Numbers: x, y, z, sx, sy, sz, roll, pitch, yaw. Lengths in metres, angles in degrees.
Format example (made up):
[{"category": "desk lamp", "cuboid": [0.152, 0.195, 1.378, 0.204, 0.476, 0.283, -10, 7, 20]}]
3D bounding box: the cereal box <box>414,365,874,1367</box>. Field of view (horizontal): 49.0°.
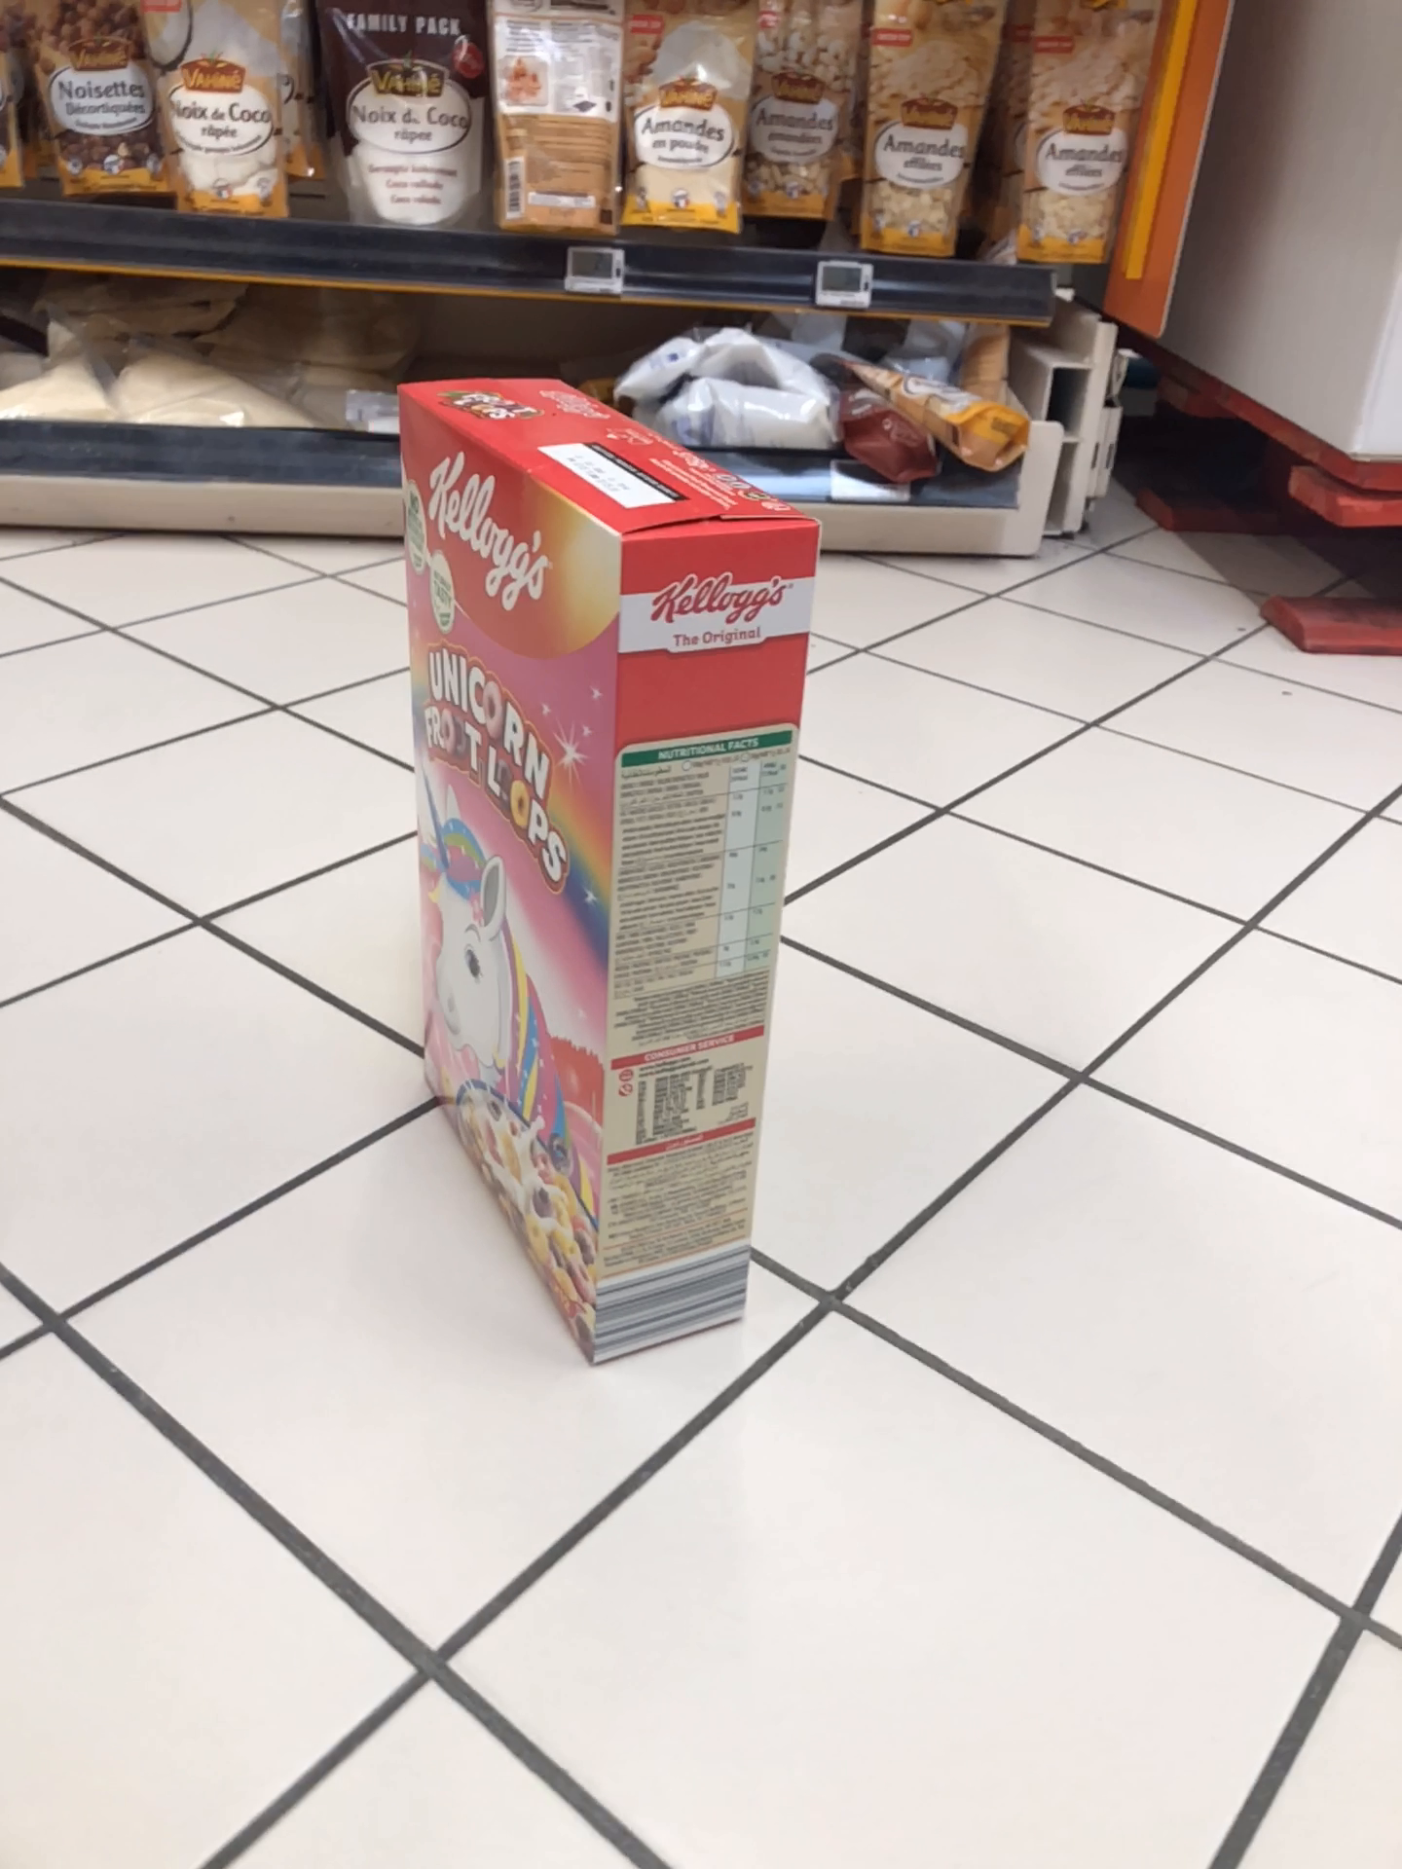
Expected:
[{"category": "cereal box", "cuboid": [-0.036, -0.031, 0.559, 0.070, 0.298, 0.201, -11, 33, -24]}]
